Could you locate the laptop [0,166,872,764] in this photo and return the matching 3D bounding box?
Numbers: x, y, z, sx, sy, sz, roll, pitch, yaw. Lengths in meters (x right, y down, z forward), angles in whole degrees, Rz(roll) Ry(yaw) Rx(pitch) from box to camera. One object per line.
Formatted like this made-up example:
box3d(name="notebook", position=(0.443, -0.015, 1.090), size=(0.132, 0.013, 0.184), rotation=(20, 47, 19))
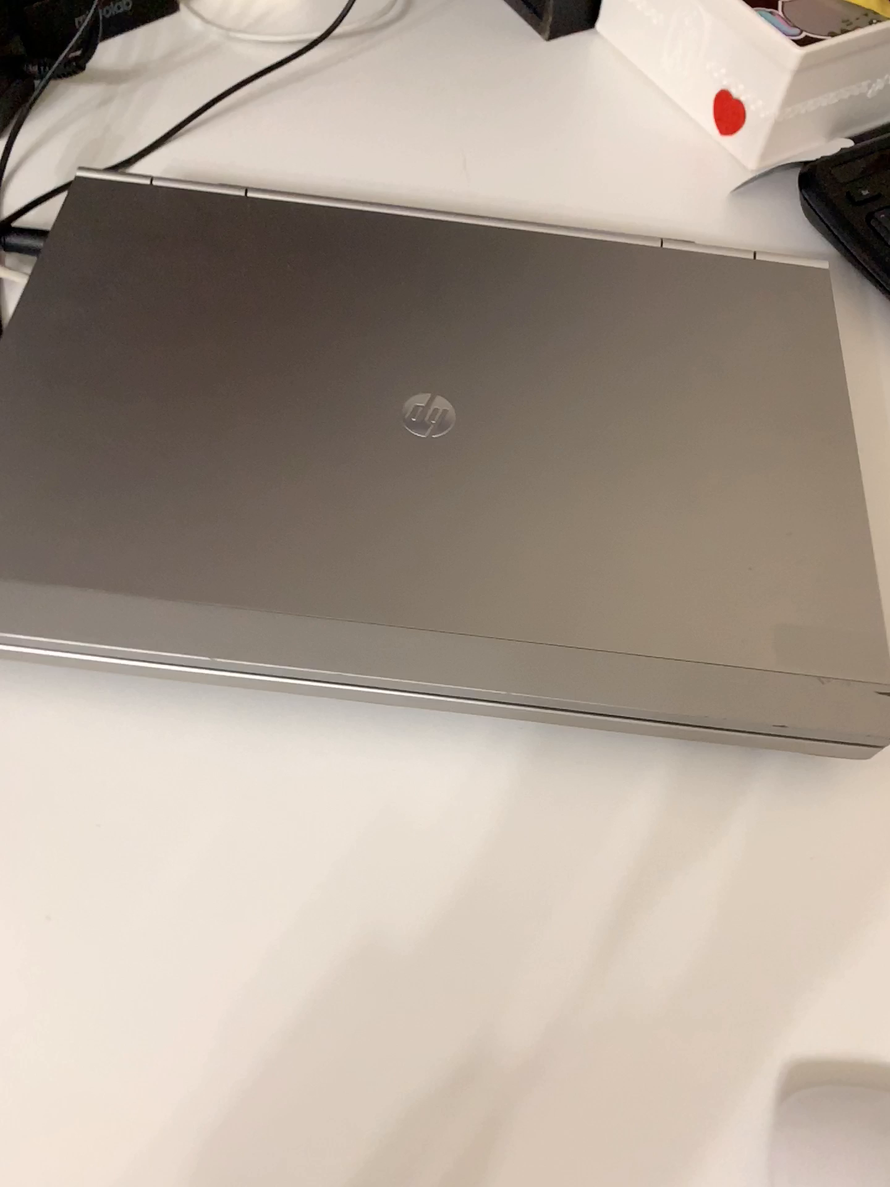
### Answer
box3d(name="laptop", position=(-0.011, -0.056, 0.318), size=(0.291, 0.016, 0.193), rotation=(7, 63, -1))
